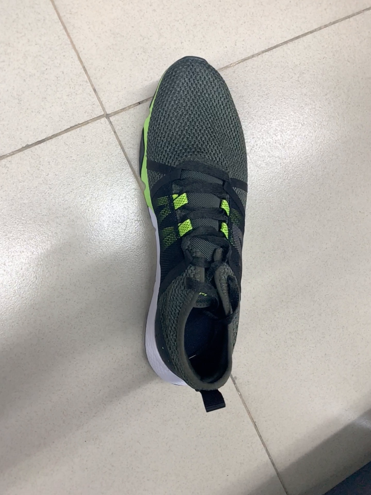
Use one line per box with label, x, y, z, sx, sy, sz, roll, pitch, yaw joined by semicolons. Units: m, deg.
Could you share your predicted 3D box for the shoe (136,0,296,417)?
shoe;0.017;-0.028;0.332;0.110;0.100;0.300;0;93;-14
